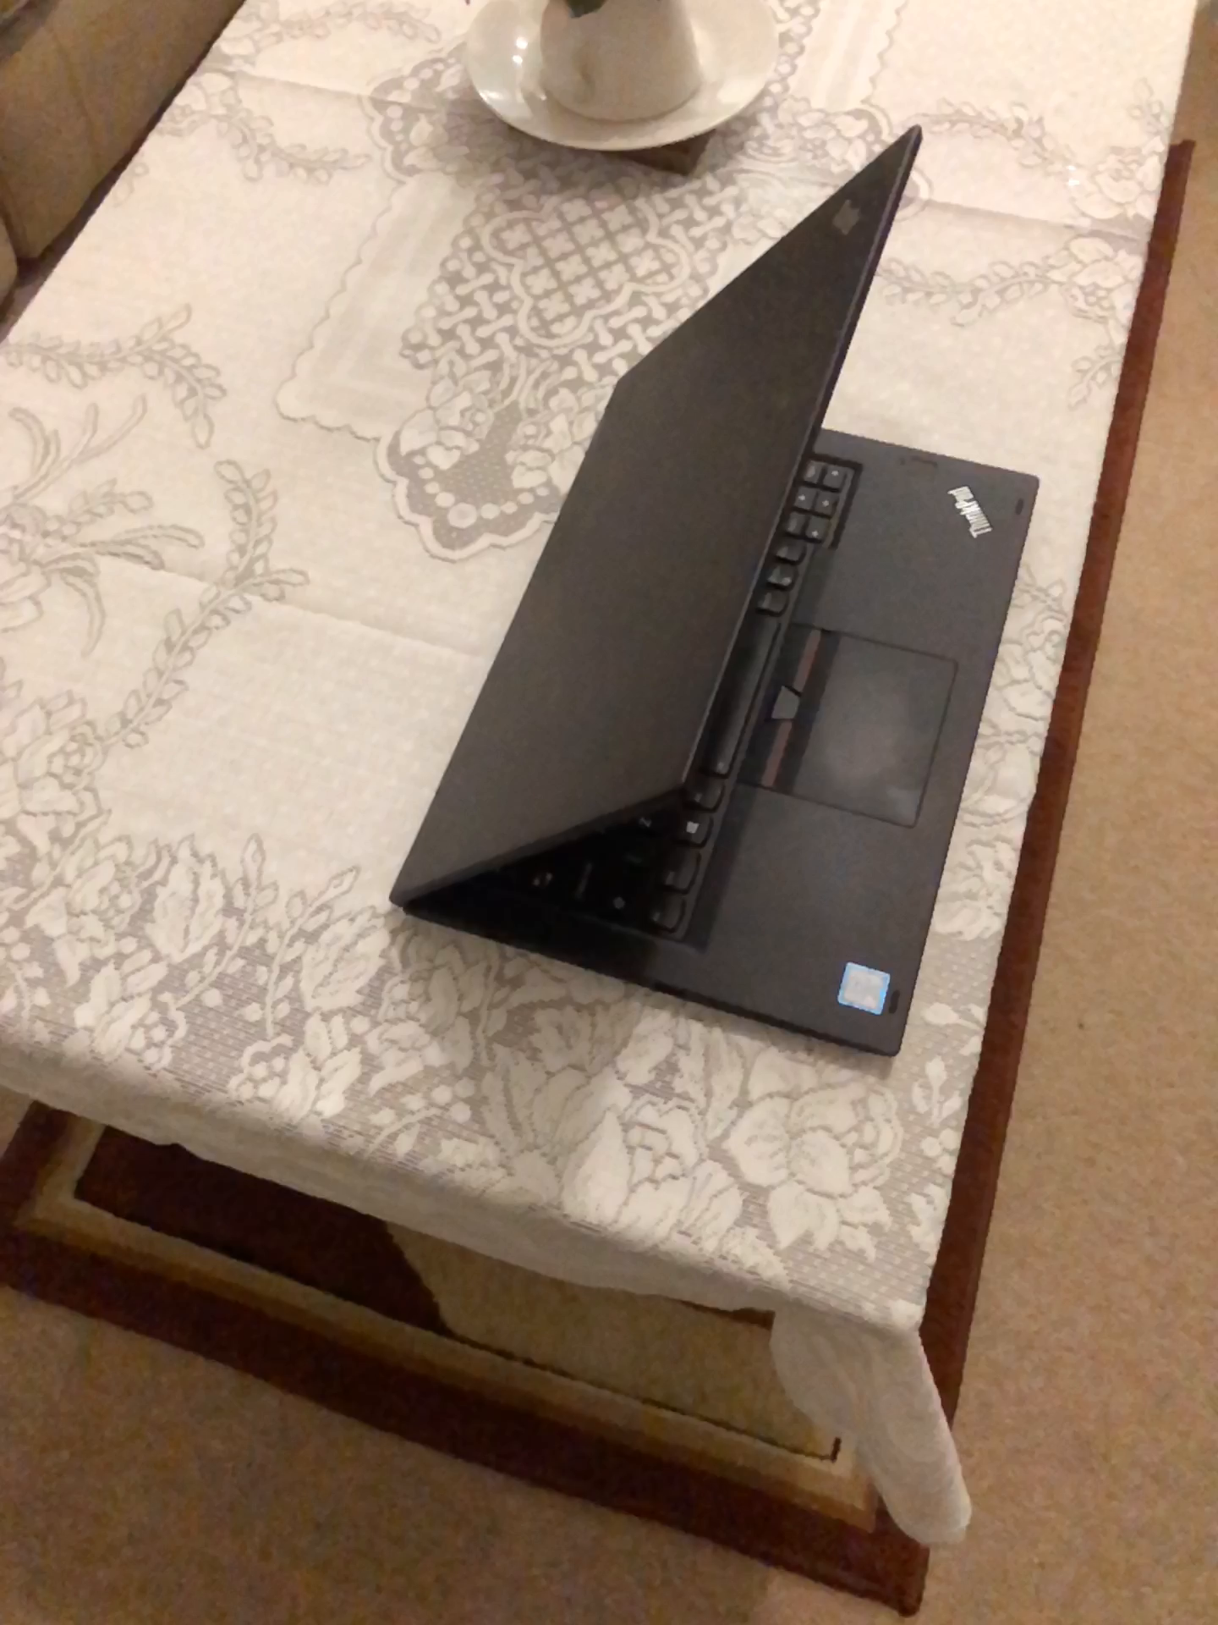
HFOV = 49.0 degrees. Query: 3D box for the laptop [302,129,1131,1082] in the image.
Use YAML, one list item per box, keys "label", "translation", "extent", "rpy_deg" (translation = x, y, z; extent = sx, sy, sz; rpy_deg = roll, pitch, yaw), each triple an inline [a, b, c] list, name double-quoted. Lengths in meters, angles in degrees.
- label: "laptop"
  translation: [0.057, -0.089, 0.568]
  extent: [0.220, 0.174, 0.309]
  rpy_deg: [17, 66, 10]
